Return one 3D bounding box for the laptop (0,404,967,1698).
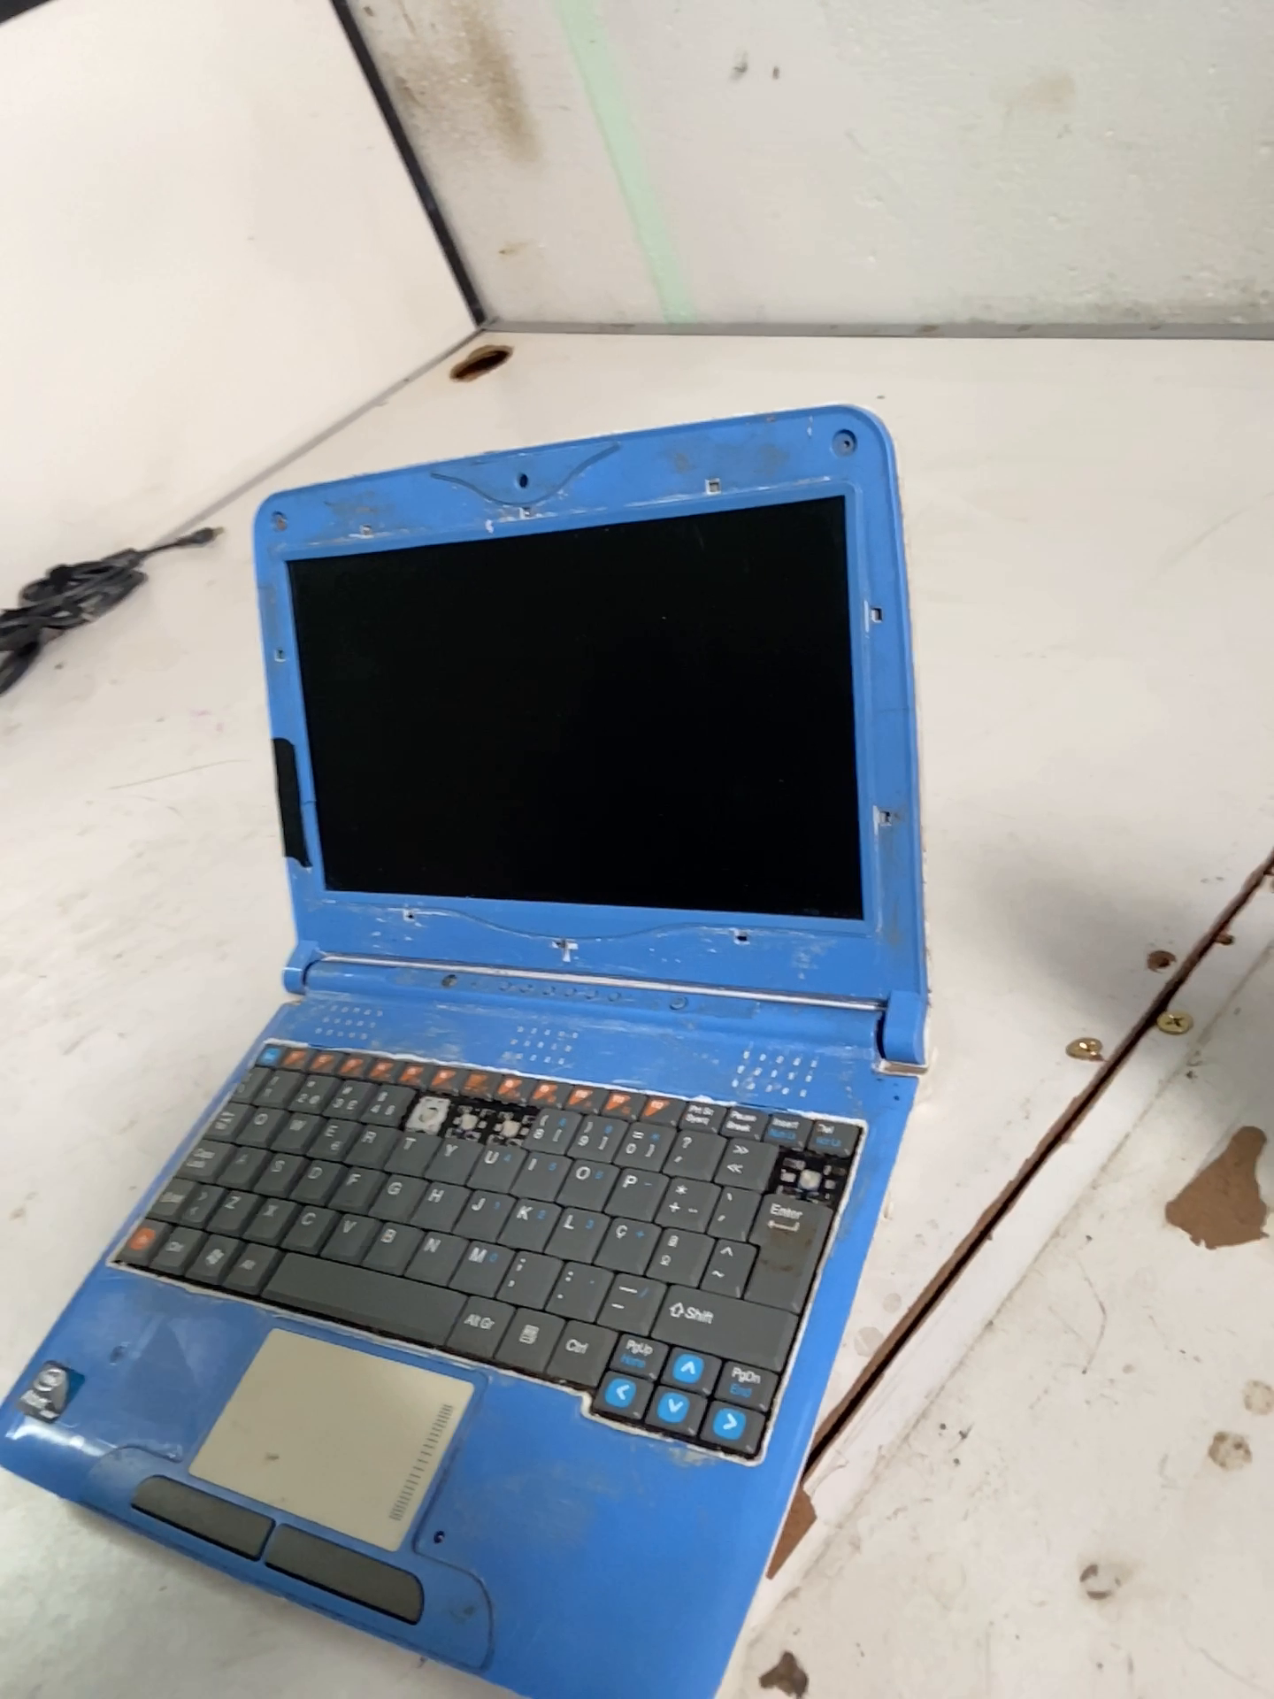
[{"bbox_3d":[-0.067,0.027,0.380,0.241,0.149,0.287,1,45,30],"label":"laptop"}]
